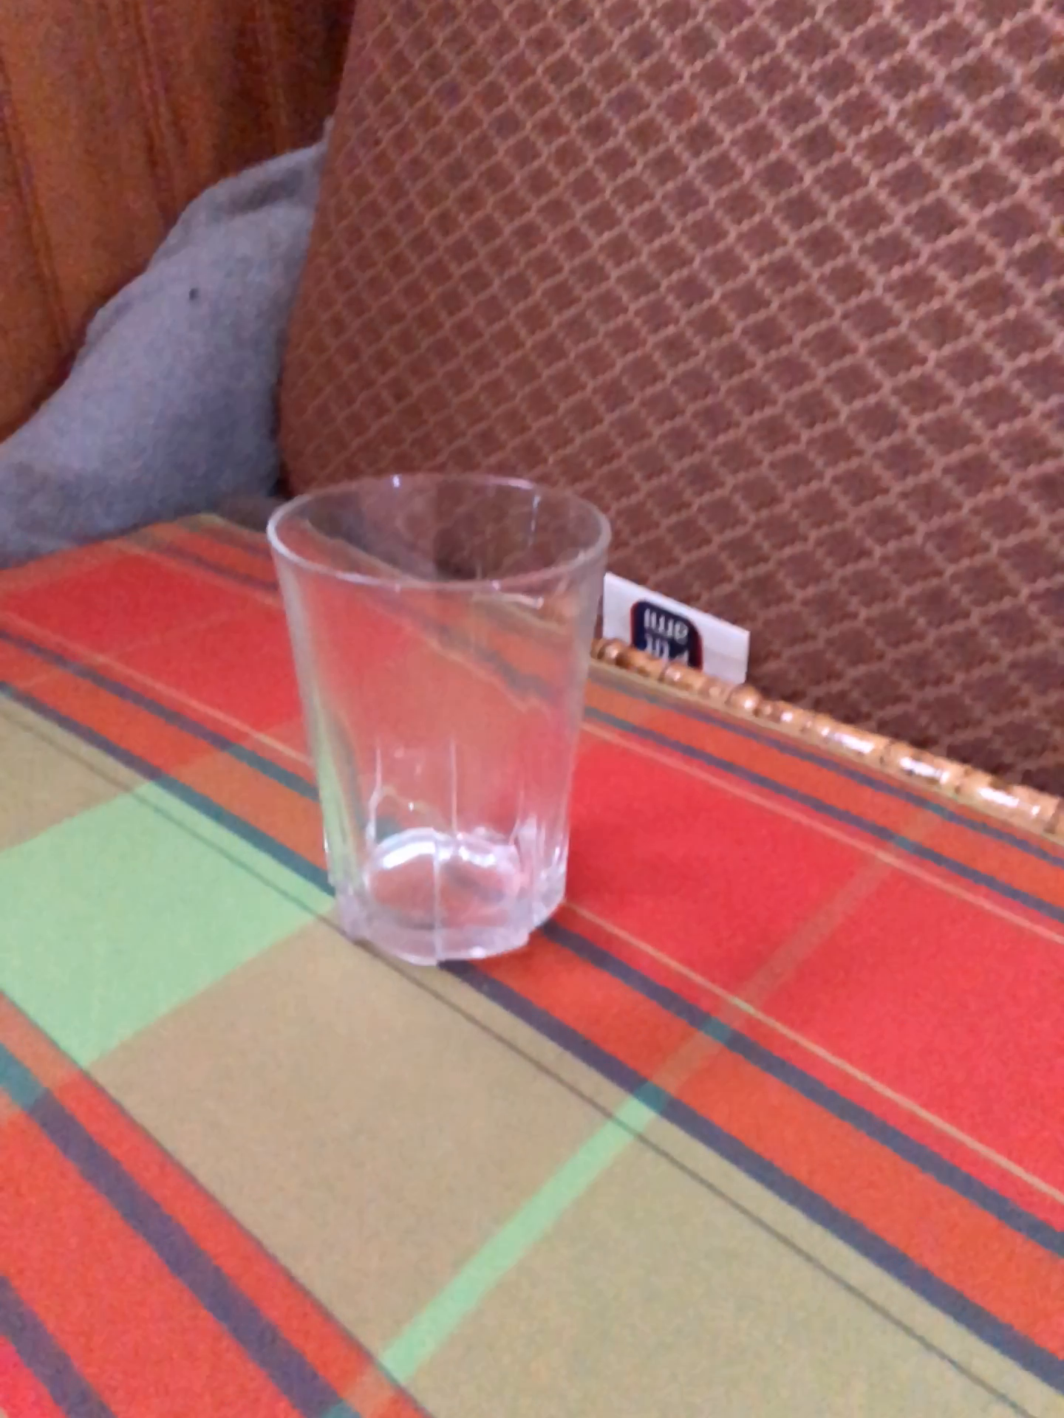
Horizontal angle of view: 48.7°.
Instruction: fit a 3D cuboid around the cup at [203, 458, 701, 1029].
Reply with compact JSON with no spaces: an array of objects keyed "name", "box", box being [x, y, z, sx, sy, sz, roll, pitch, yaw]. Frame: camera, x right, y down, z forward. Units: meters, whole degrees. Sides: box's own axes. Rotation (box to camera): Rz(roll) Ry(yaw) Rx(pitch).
[{"name":"cup","box":[-0.012,0.002,0.239,0.070,0.080,0.070,1,29,-1]}]
